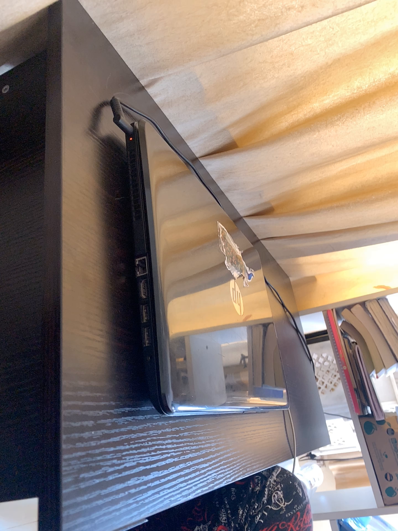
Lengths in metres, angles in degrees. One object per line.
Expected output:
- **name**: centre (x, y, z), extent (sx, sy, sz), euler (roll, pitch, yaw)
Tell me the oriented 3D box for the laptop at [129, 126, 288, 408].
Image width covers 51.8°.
- **laptop**: centre (0.034, 0.041, 0.484), extent (0.375, 0.006, 0.237), euler (34, 44, -60)
